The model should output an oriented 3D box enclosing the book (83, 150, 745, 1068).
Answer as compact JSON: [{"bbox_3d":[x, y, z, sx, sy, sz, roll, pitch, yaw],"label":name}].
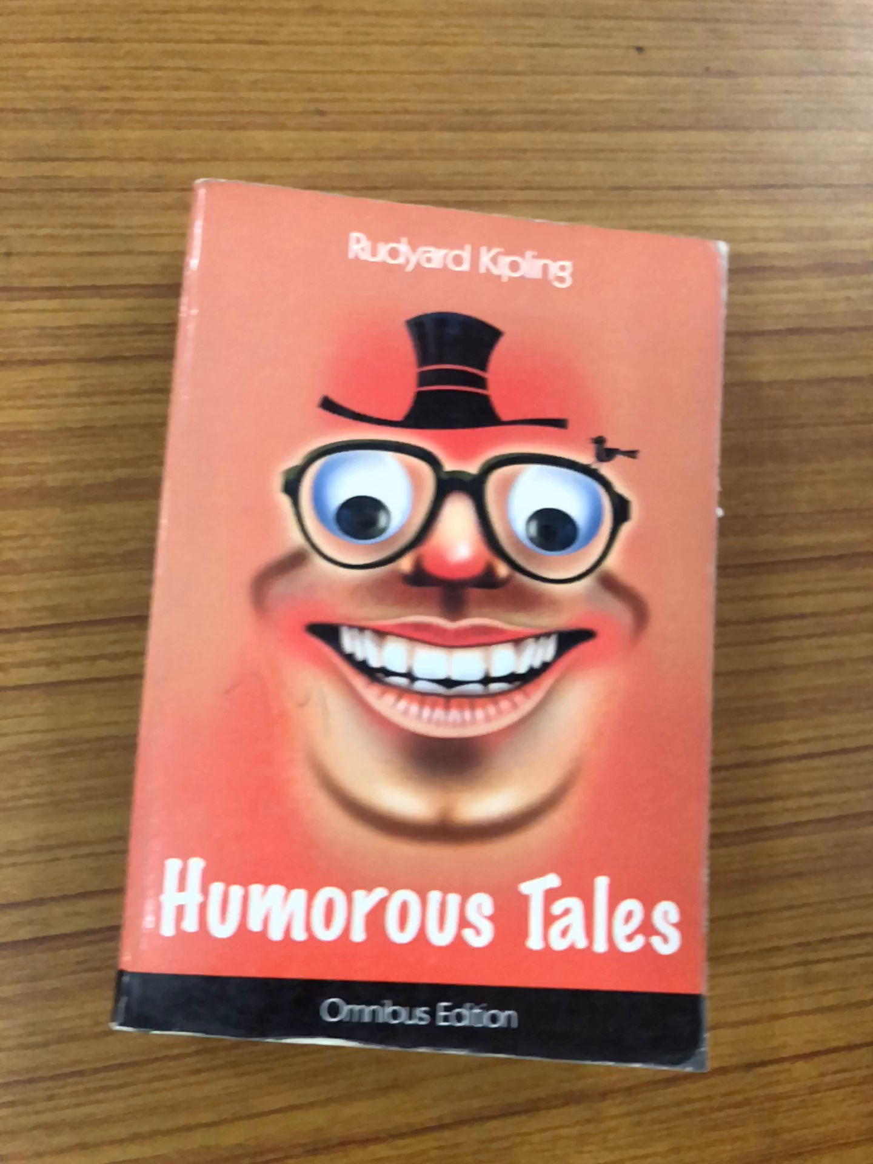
[{"bbox_3d":[-0.001,0.002,0.231,0.130,0.040,0.190,3,83,1],"label":"book"}]
